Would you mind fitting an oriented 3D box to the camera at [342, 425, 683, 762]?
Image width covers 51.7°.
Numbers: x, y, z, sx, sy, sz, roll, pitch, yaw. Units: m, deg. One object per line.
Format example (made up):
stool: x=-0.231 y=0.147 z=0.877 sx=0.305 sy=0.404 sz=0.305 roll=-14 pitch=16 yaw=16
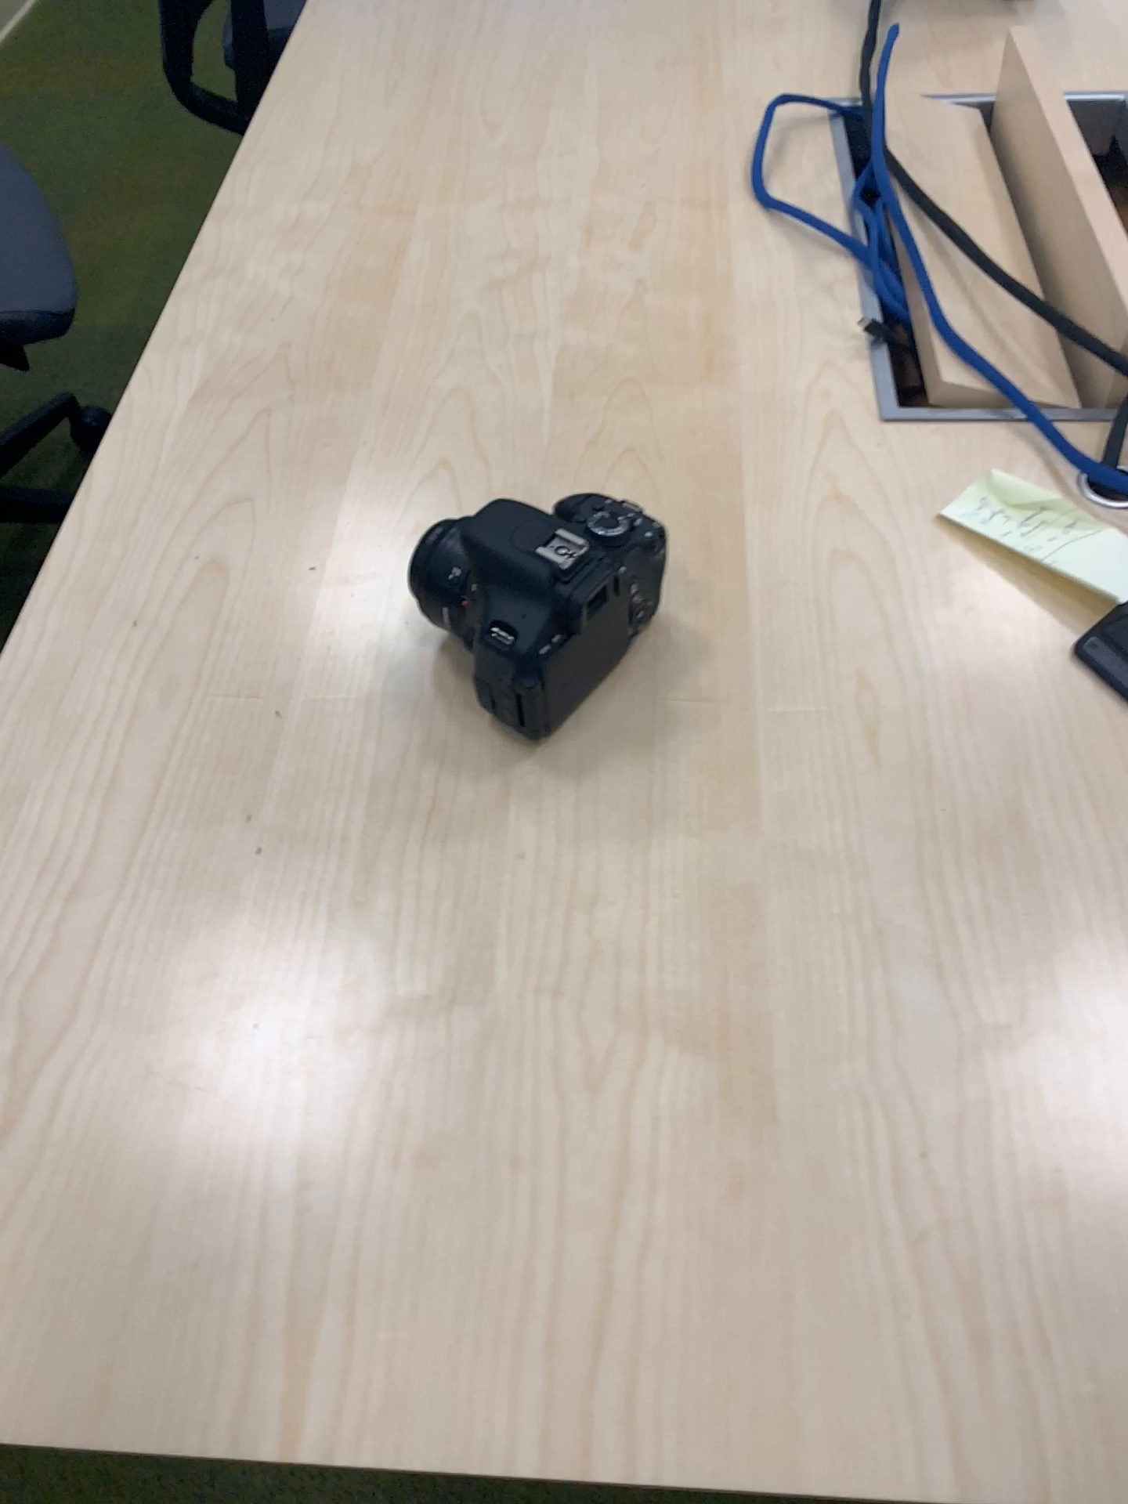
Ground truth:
camera: x=-0.024 y=-0.091 z=0.646 sx=0.127 sy=0.085 sz=0.129 roll=29 pitch=59 yaw=23
